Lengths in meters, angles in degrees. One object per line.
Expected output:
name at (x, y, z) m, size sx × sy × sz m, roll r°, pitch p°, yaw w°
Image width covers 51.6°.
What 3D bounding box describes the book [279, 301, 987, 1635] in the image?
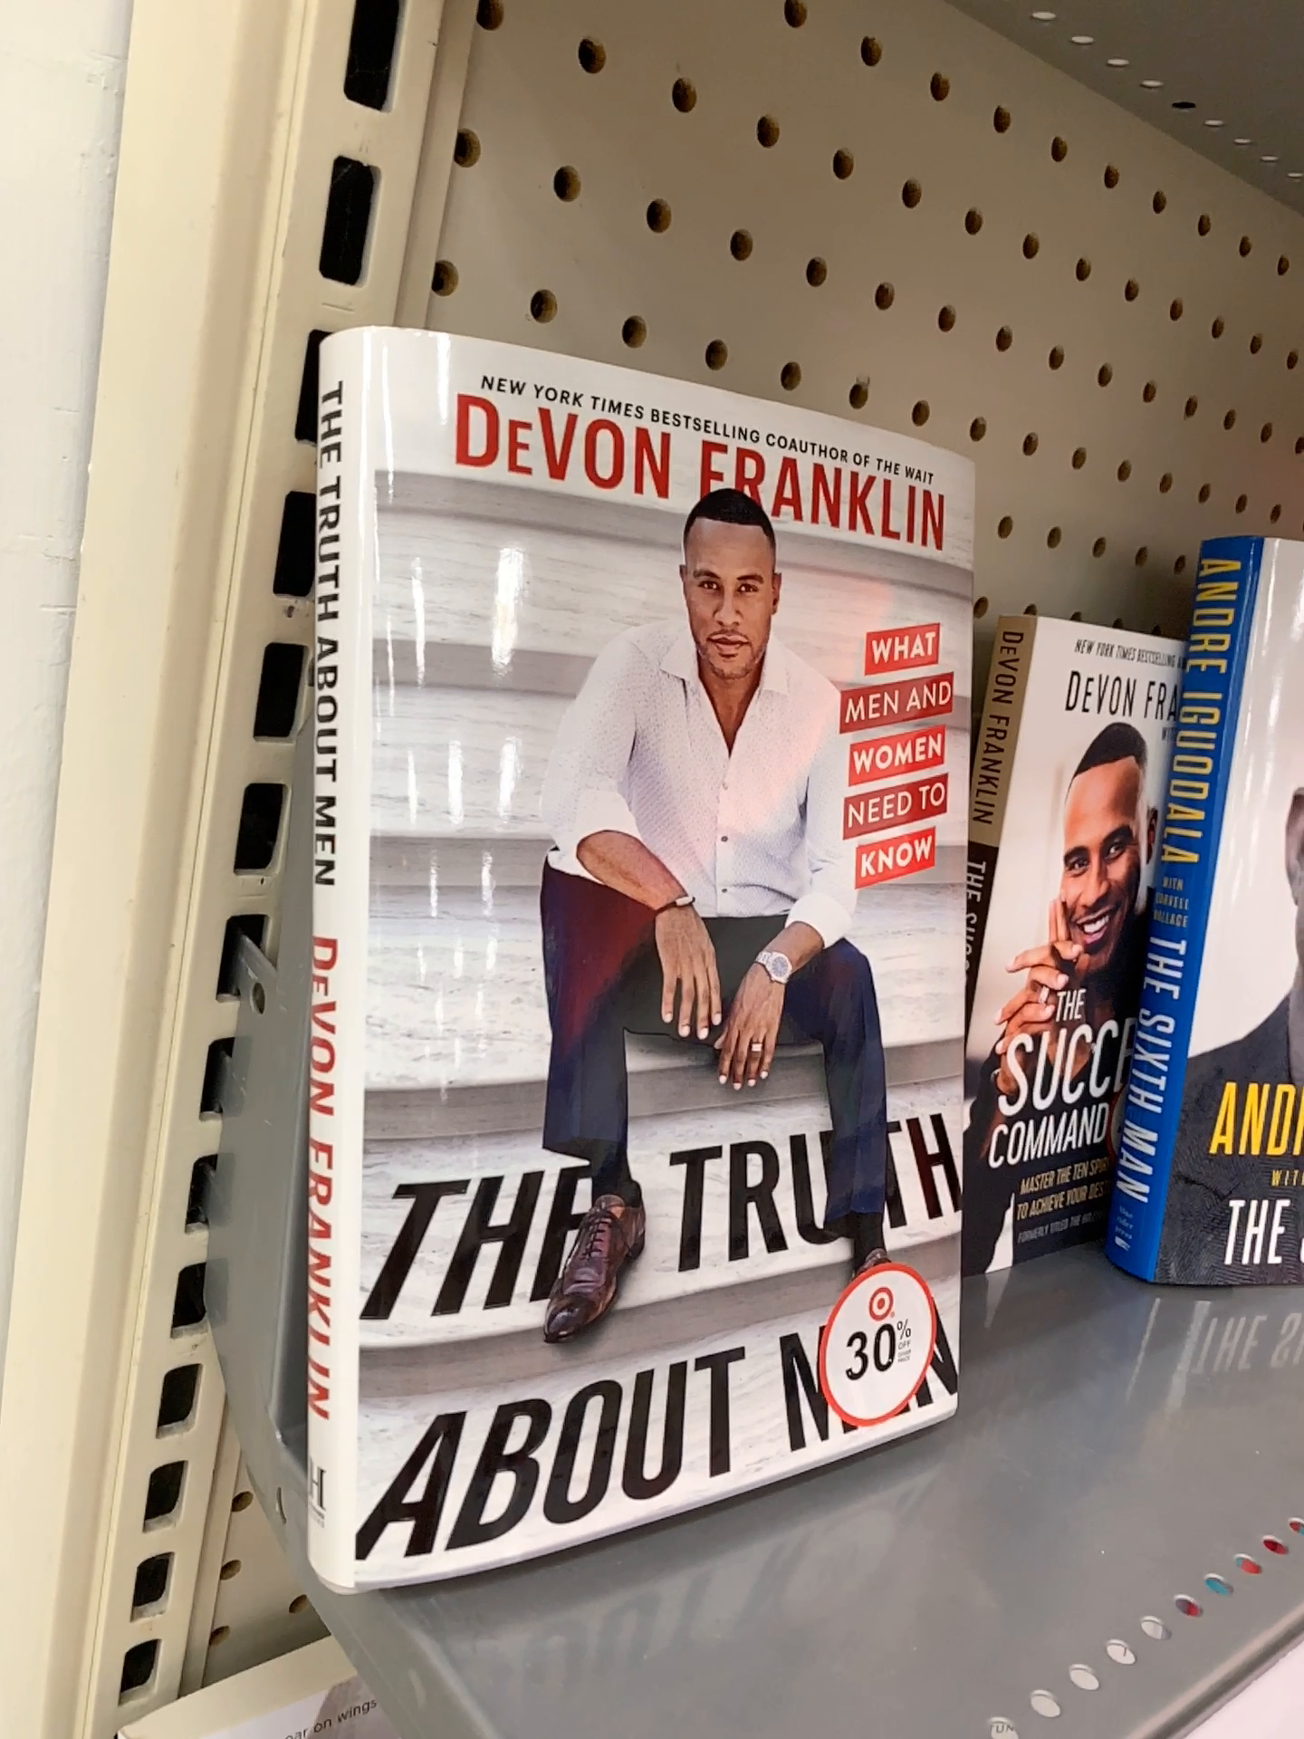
book at (0.003, 0.017, 0.301) m, size 0.160 × 0.236 × 0.040 m, roll 0°, pitch 1°, yaw -35°
